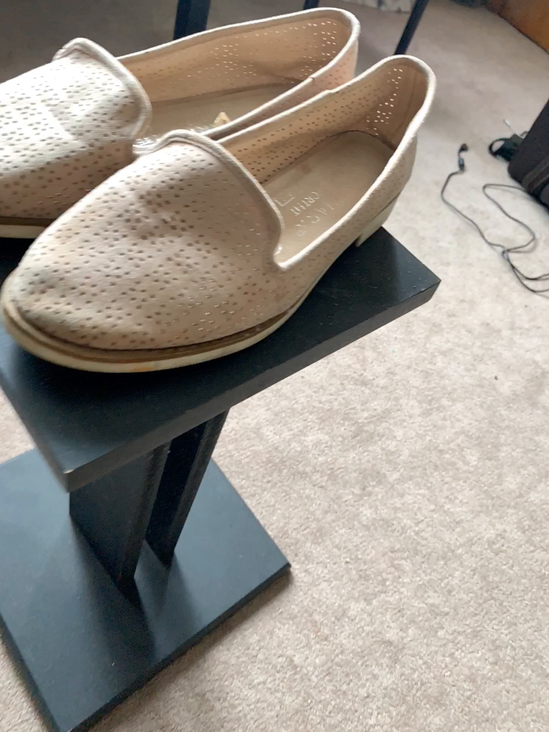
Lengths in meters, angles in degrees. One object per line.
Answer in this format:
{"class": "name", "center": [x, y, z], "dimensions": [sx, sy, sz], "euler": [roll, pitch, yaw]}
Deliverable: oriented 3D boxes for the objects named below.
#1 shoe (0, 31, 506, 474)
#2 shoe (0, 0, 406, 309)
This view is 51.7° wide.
{"class": "shoe", "center": [-0.002, -0.070, 0.278], "dimensions": [0.080, 0.079, 0.251], "euler": [43, 61, 16]}
{"class": "shoe", "center": [-0.056, -0.130, 0.308], "dimensions": [0.251, 0.079, 0.080], "euler": [-27, 65, -26]}
